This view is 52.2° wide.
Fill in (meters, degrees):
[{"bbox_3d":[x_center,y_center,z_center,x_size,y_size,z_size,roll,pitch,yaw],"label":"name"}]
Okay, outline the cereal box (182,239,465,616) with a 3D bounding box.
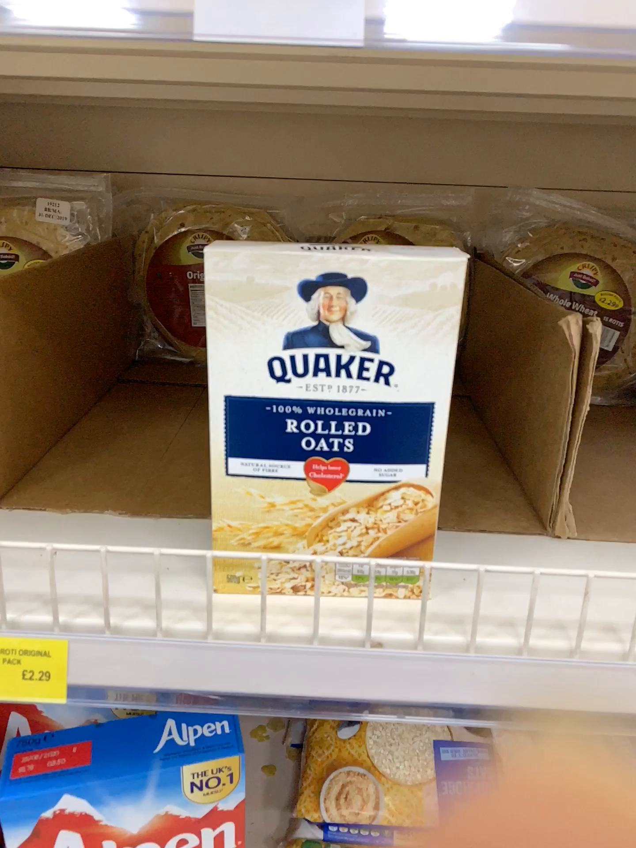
[{"bbox_3d":[-0.001,0.007,0.407,0.150,0.228,0.050,2,20,-1],"label":"cereal box"}]
